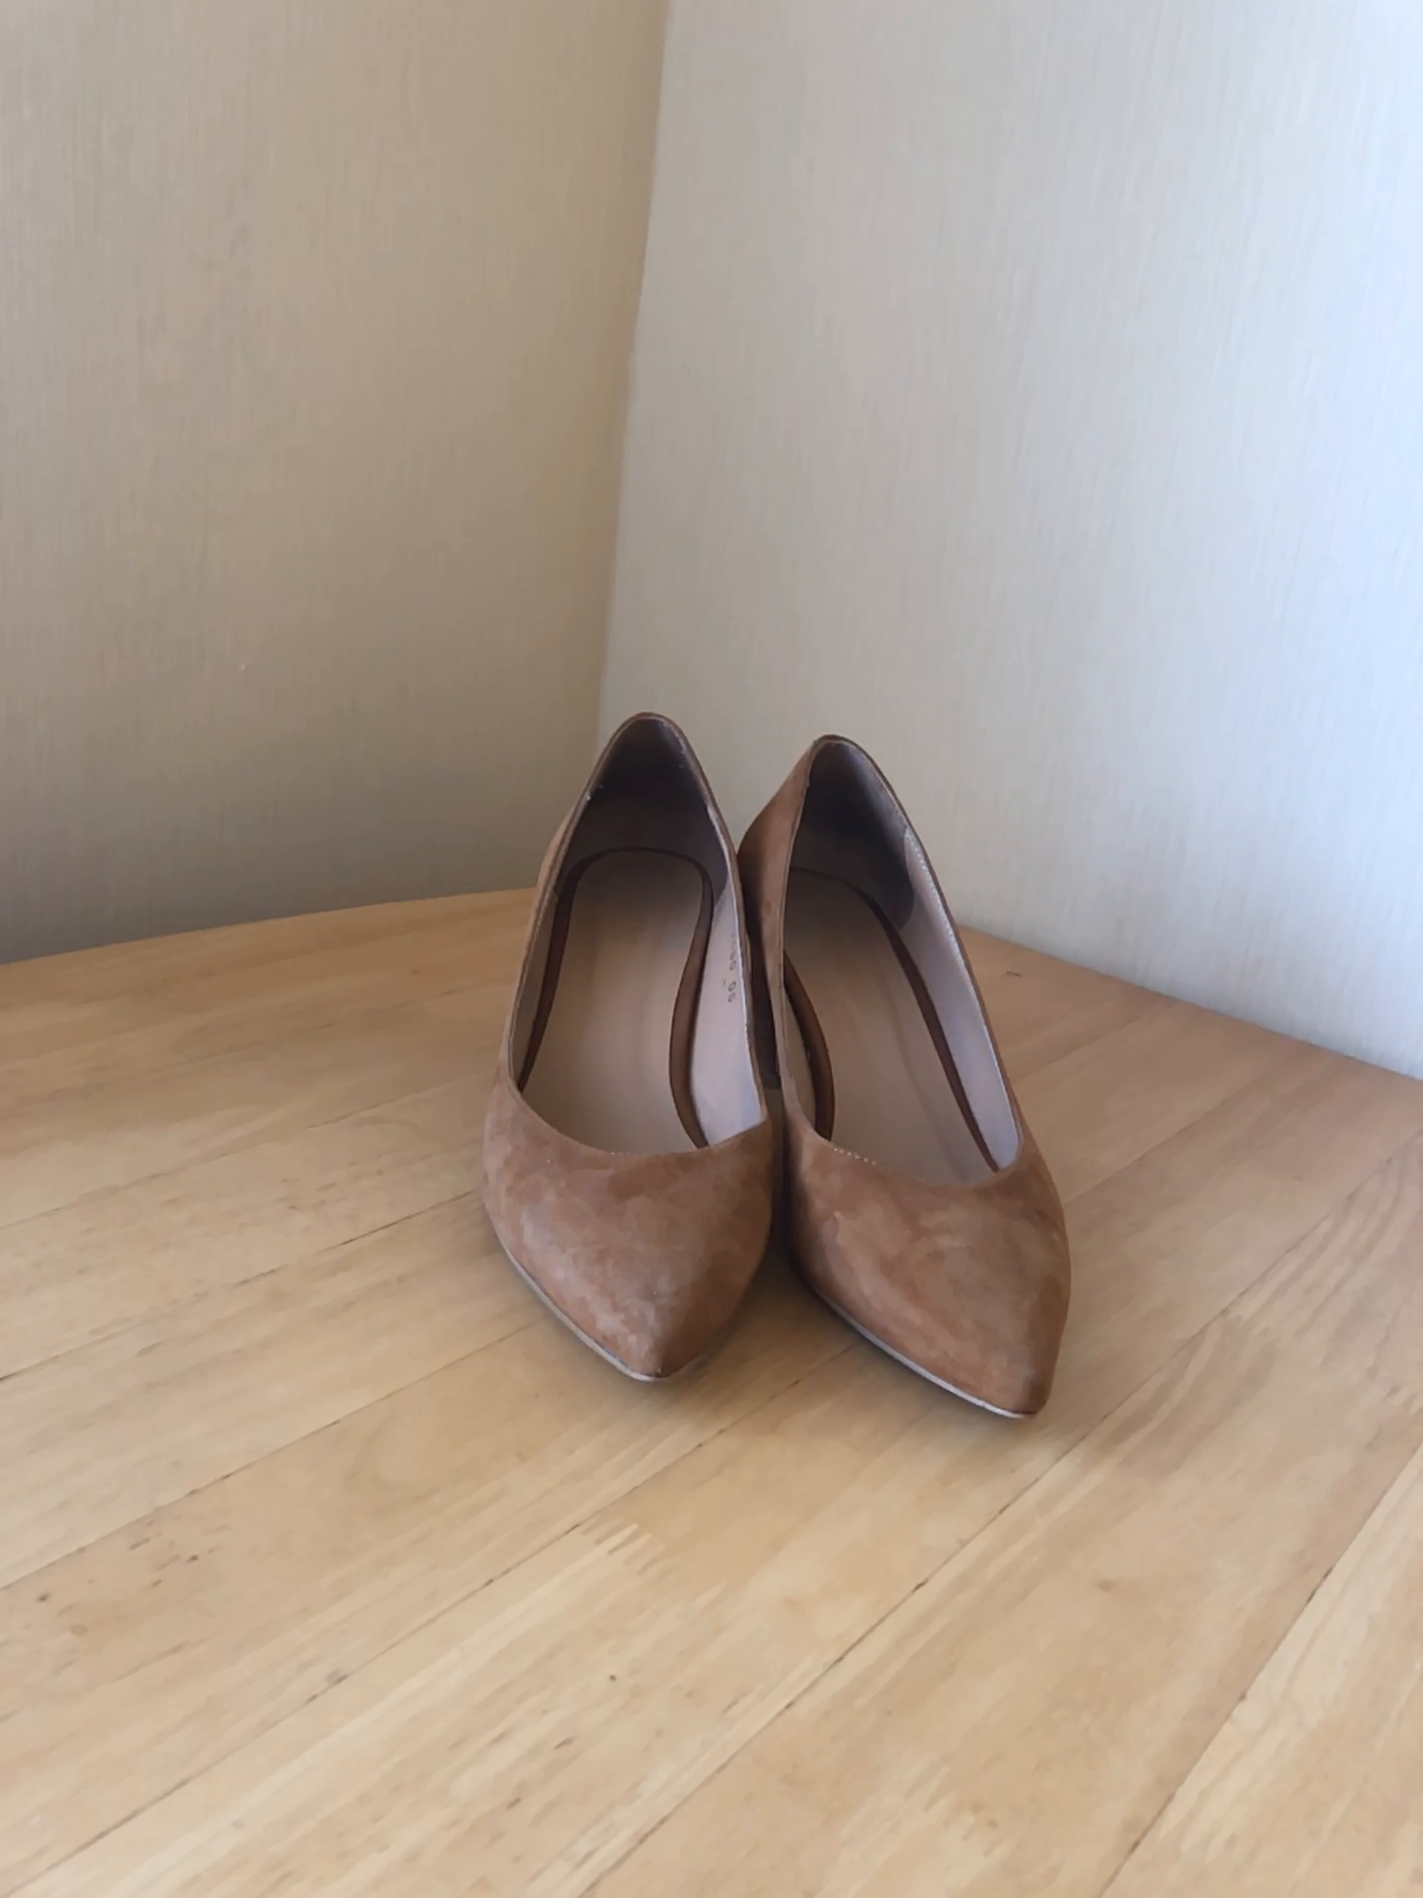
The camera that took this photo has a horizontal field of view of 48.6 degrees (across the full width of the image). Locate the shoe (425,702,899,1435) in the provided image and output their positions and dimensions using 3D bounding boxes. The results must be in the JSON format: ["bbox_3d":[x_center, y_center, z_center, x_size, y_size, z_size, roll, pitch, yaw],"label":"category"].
[{"bbox_3d":[-0.020,0.012,0.452,0.089,0.110,0.251,5,19,-6],"label":"shoe"}]

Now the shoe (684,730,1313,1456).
[{"bbox_3d":[0.059,0.021,0.468,0.089,0.110,0.261,3,19,-10],"label":"shoe"}]
